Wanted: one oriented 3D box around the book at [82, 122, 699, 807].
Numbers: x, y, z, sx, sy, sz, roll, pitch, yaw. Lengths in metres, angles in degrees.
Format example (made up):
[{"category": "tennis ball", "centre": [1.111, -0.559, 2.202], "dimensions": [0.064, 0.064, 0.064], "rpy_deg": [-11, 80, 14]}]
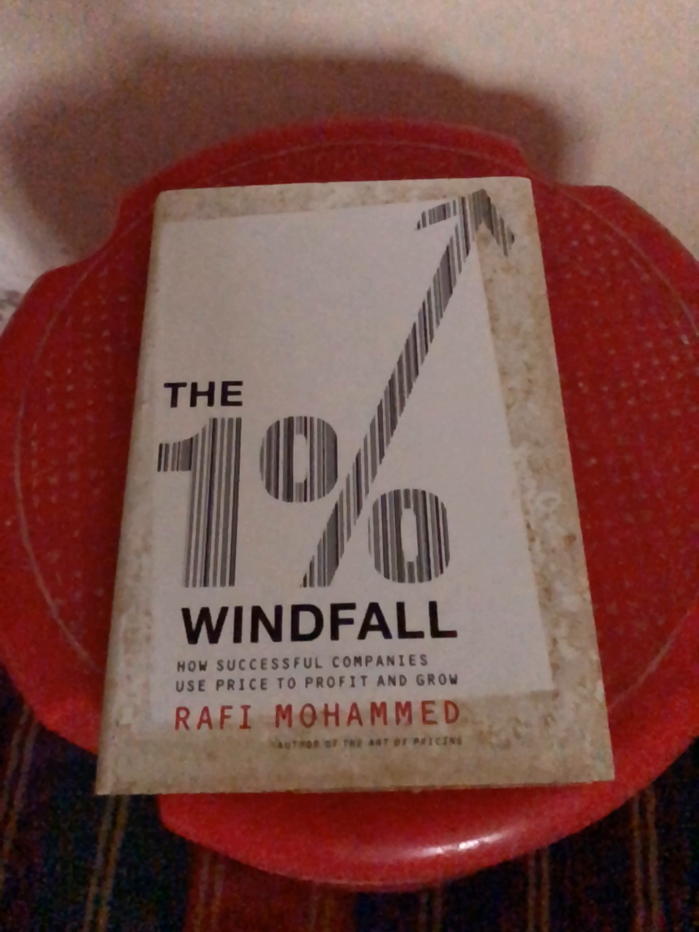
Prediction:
[{"category": "book", "centre": [0.009, -0.015, 0.297], "dimensions": [0.180, 0.040, 0.260], "rpy_deg": [-2, 67, 1]}]
